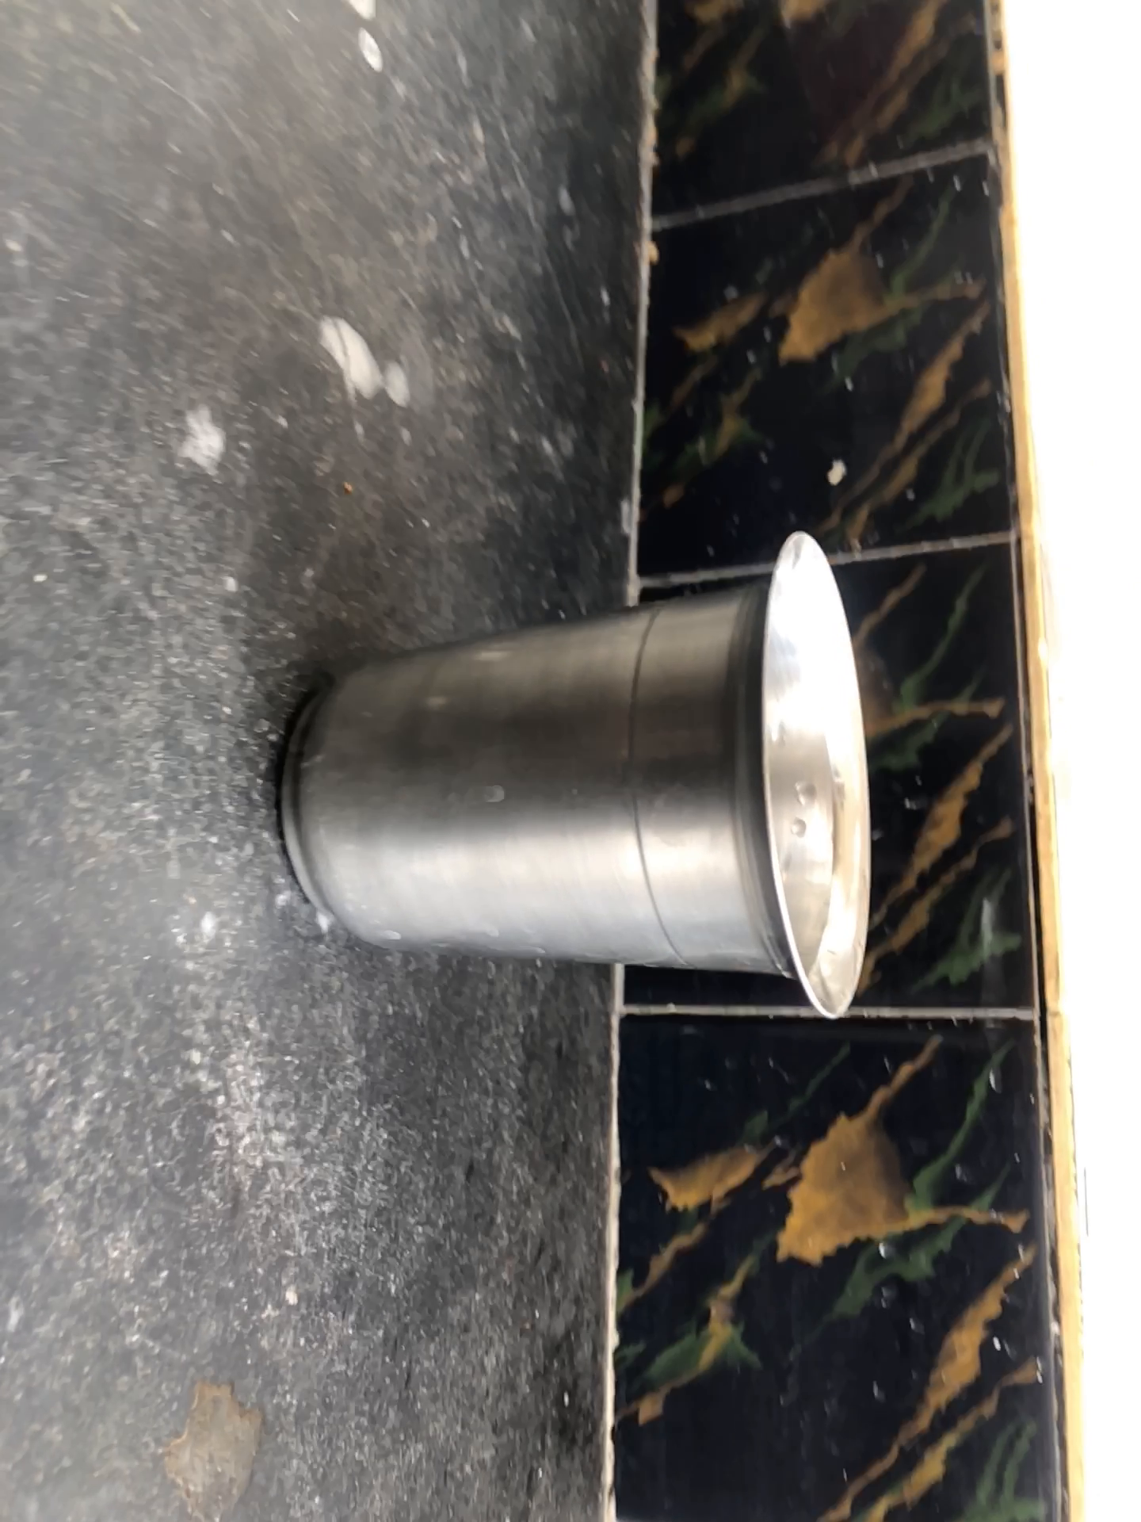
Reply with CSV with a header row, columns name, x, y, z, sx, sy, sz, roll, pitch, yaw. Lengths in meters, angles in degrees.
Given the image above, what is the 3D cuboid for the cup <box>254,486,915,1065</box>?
name,x,y,z,sx,sy,sz,roll,pitch,yaw
cup,0.010,0.002,0.256,0.091,0.099,0.090,-4,90,-68
